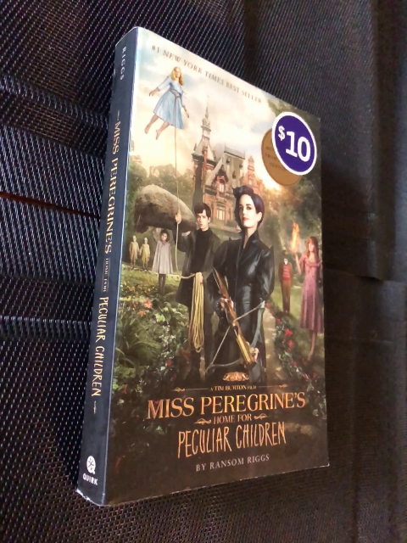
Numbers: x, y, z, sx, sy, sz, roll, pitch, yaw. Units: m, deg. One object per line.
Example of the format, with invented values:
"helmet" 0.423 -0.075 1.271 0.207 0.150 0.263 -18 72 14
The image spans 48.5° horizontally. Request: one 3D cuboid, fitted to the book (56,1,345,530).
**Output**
"book" 0.013 0.000 0.263 0.161 0.050 0.230 10 80 -38
